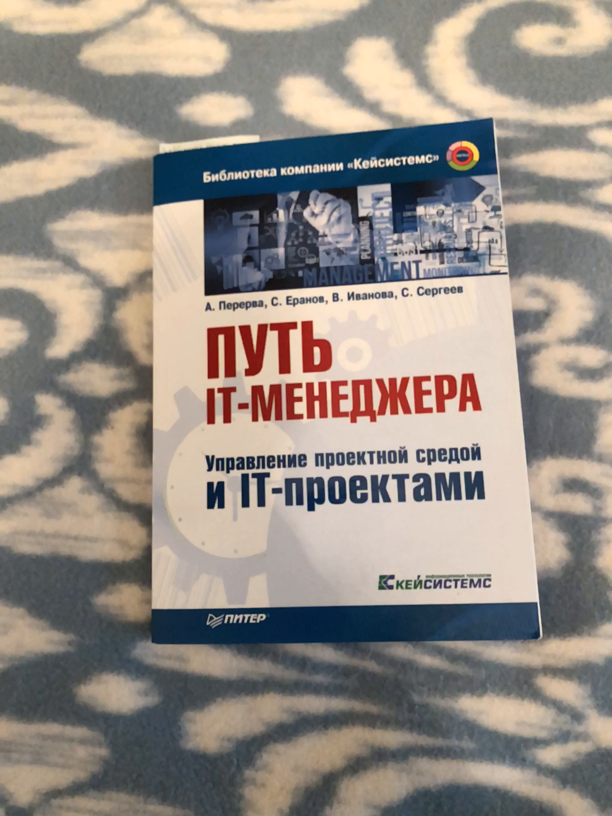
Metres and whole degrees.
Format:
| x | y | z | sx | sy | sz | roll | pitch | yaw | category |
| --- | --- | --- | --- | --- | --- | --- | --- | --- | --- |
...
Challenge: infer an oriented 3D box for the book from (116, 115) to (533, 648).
| x | y | z | sx | sy | sz | roll | pitch | yaw | category |
| --- | --- | --- | --- | --- | --- | --- | --- | --- | --- |
| 0.002 | -0.013 | 0.308 | 0.172 | 0.019 | 0.228 | -3 | 81 | 8 | book |
